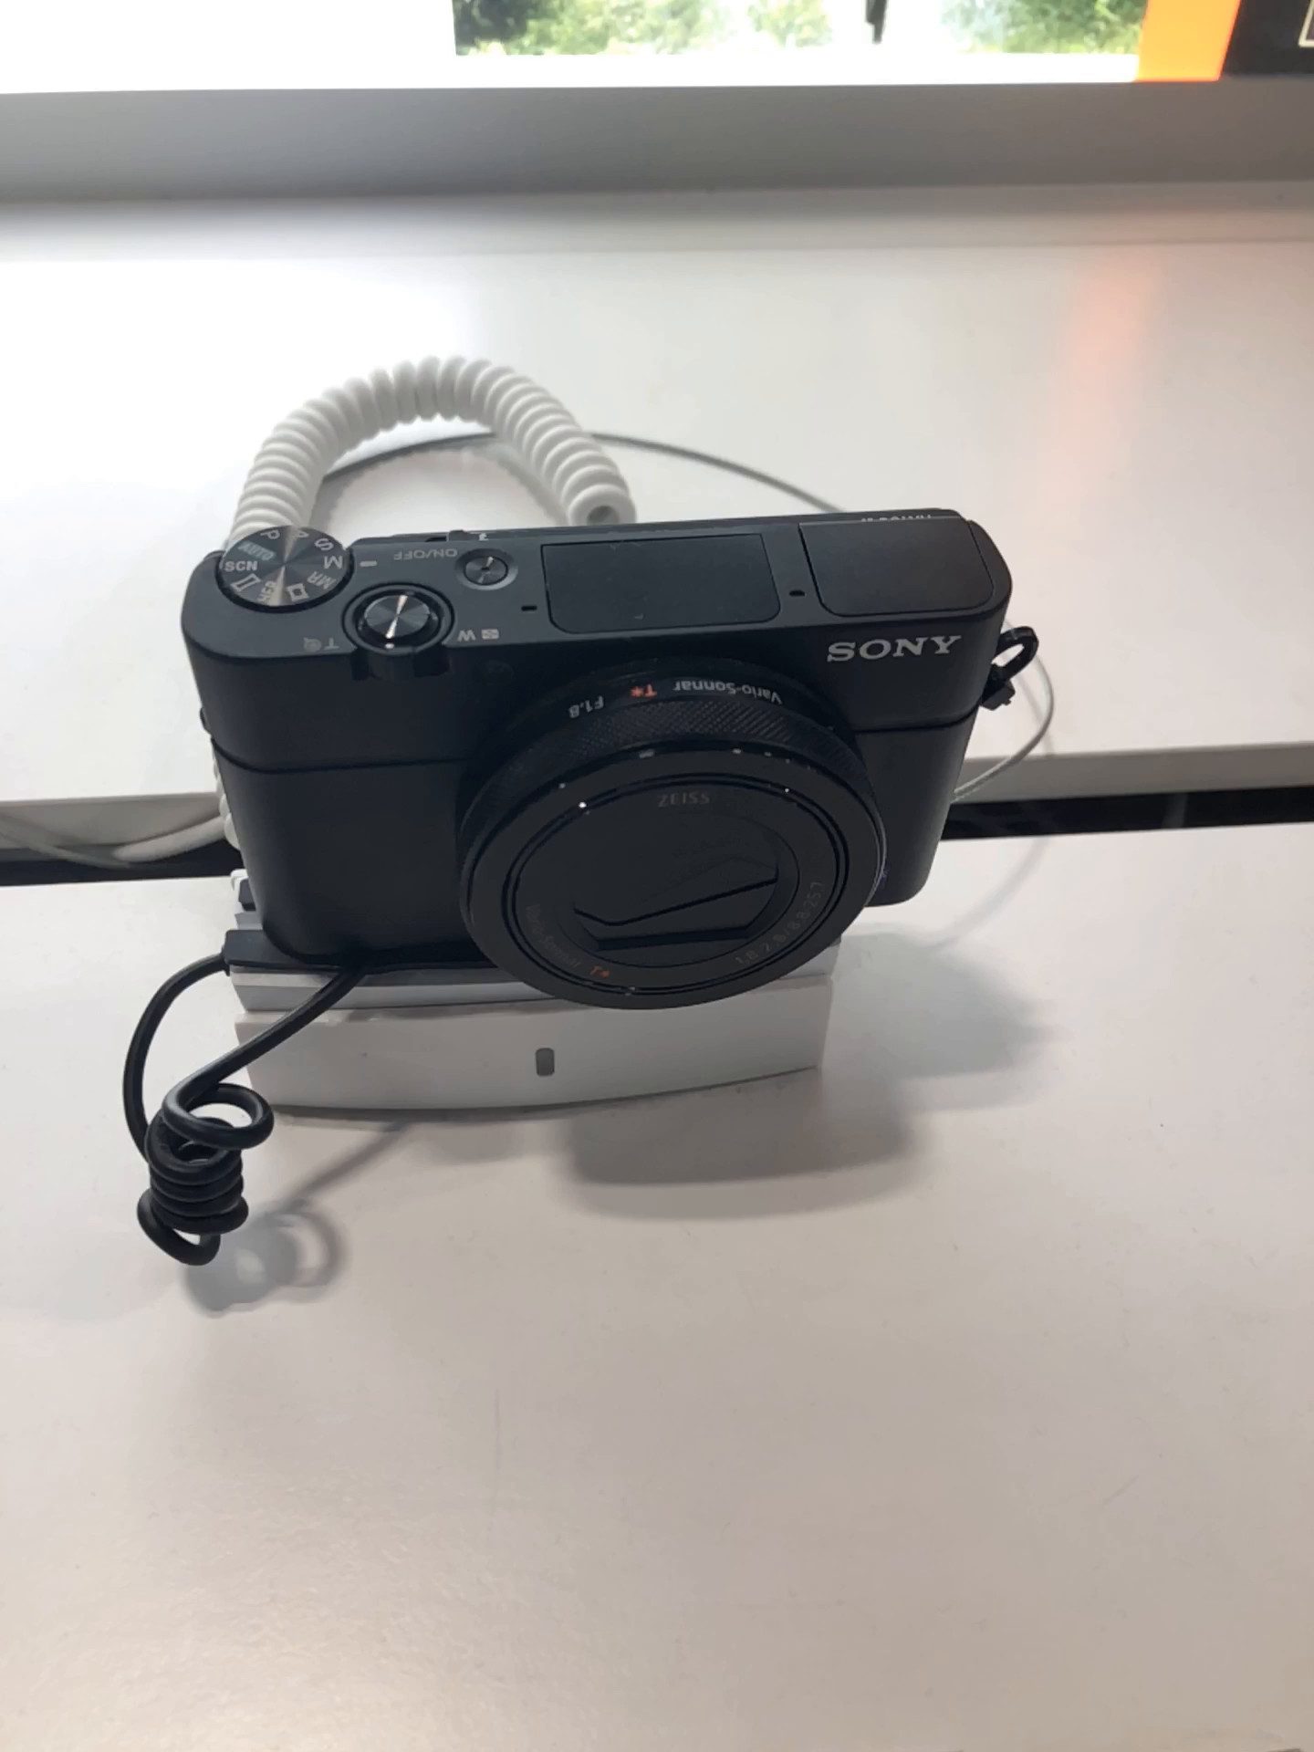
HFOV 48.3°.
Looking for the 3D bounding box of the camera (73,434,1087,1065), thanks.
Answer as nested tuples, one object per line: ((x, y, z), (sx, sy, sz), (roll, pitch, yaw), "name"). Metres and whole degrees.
((-0.010, -0.016, 0.198), (0.110, 0.070, 0.040), (-4, 48, -6), "camera")
